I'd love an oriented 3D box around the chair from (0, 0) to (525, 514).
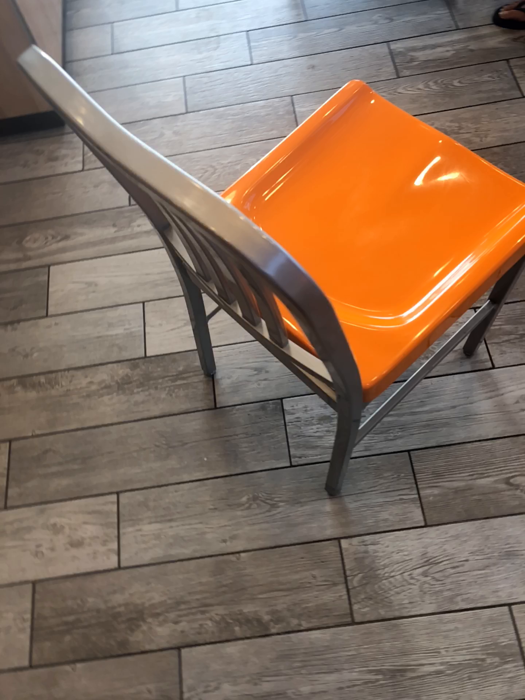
[{"bbox_3d":[0.121,-0.190,0.821,0.510,0.819,0.471,-42,68,-13],"label":"chair"}]
